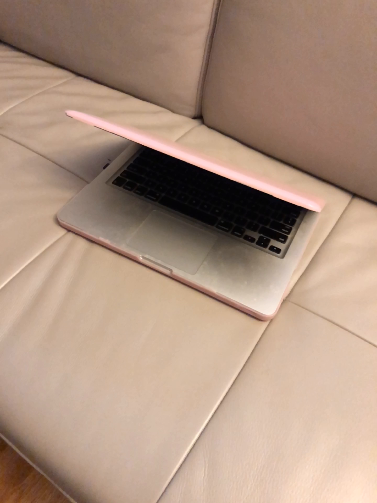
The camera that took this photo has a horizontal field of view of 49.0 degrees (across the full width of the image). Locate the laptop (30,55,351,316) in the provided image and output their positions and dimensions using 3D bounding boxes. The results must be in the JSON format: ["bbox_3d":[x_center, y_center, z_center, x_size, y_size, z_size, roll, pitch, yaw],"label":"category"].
[{"bbox_3d":[0.012,-0.100,0.537,0.307,0.145,0.220,24,54,15],"label":"laptop"}]
